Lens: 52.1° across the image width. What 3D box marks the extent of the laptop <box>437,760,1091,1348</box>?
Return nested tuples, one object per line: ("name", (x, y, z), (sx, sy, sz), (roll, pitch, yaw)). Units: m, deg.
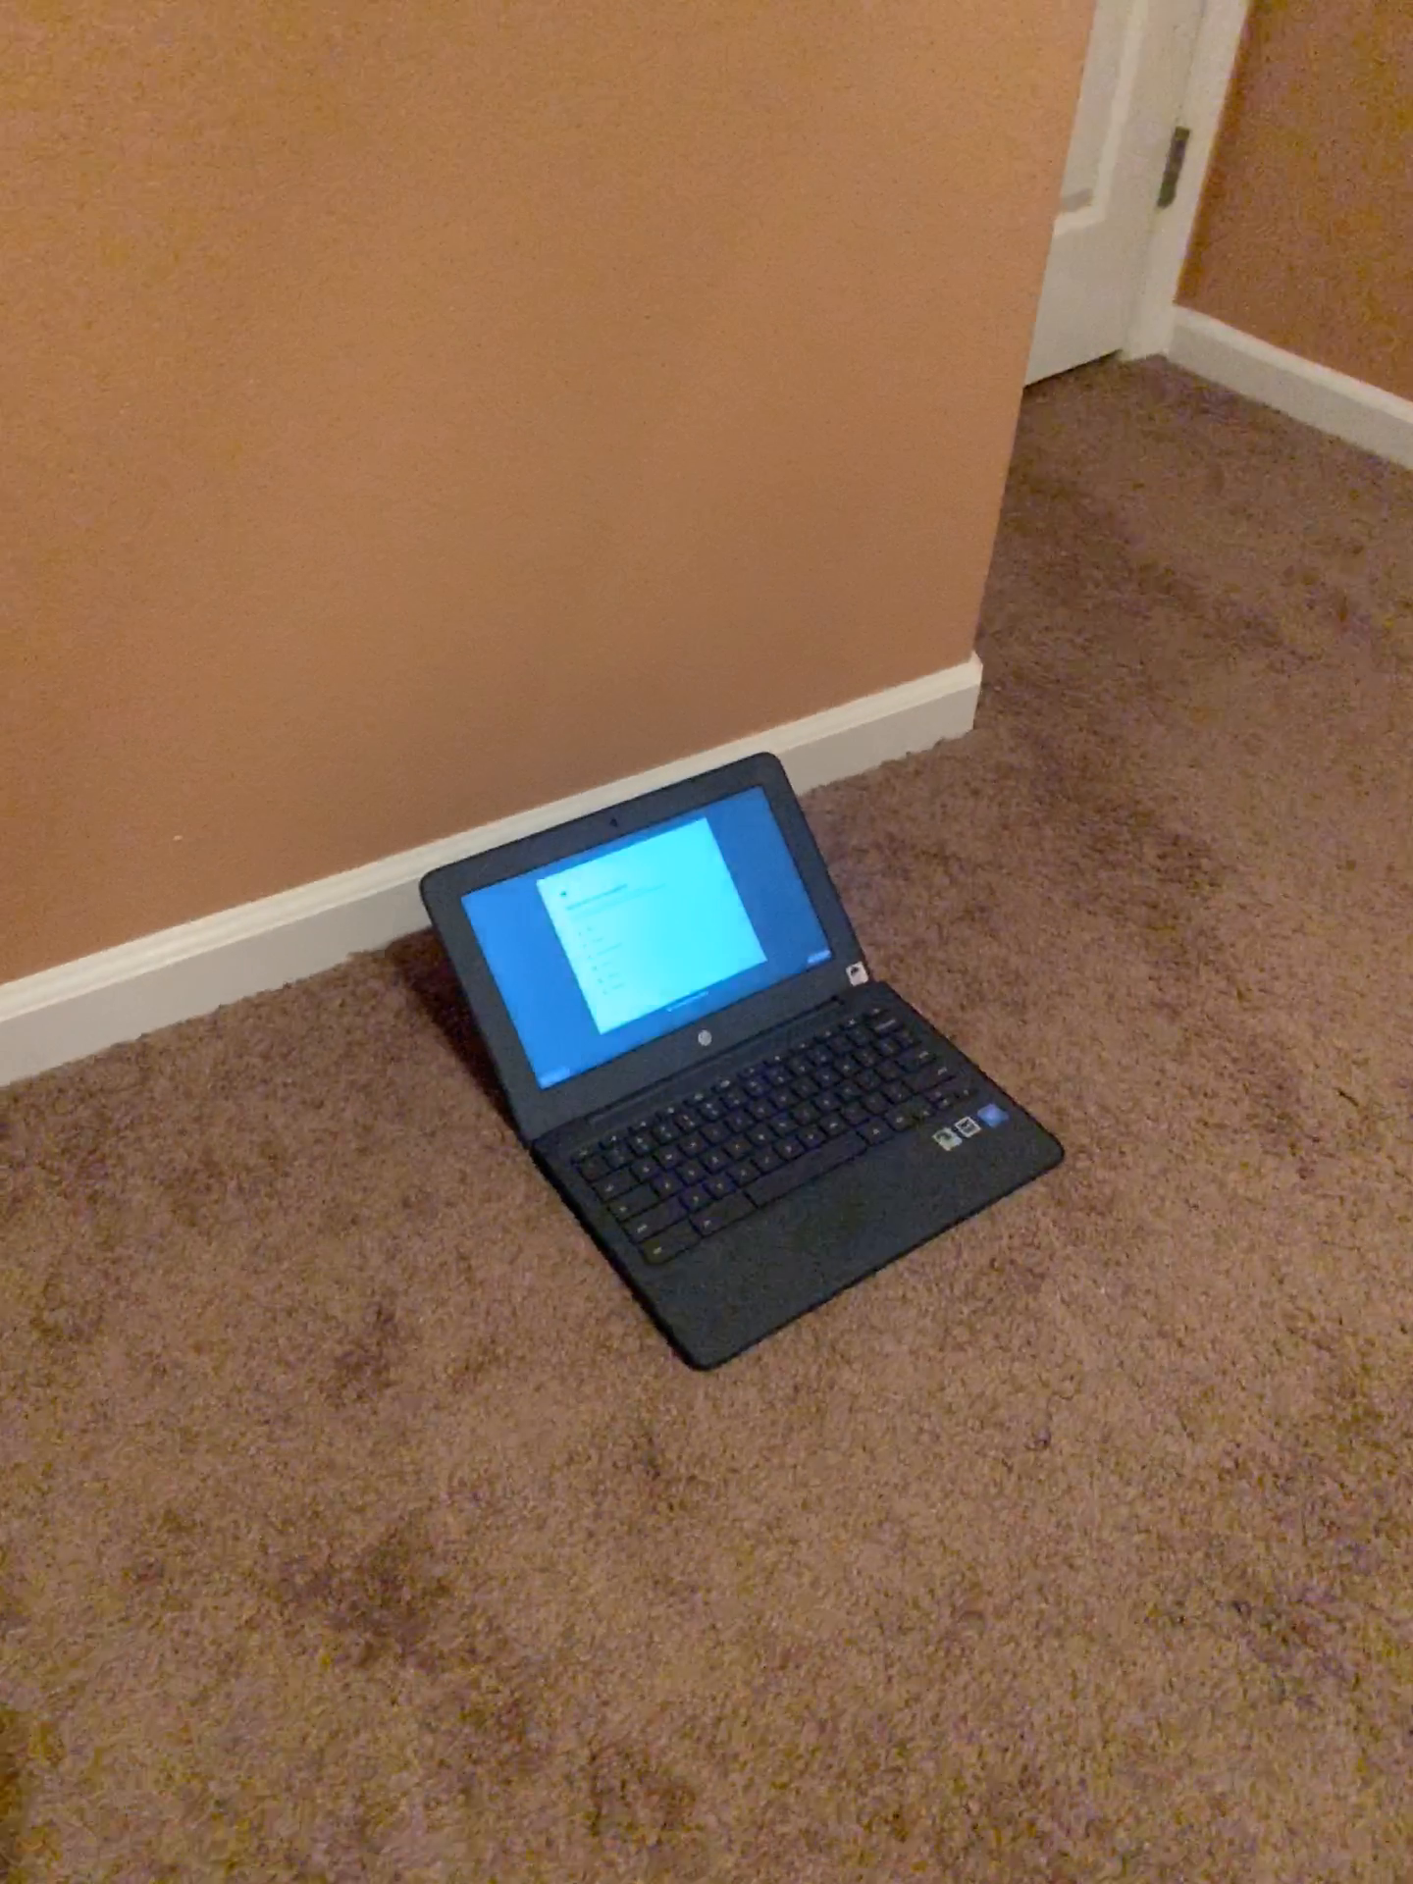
("laptop", (0.026, 0.050, 0.981), (0.288, 0.124, 0.333), (-22, 47, -27))
